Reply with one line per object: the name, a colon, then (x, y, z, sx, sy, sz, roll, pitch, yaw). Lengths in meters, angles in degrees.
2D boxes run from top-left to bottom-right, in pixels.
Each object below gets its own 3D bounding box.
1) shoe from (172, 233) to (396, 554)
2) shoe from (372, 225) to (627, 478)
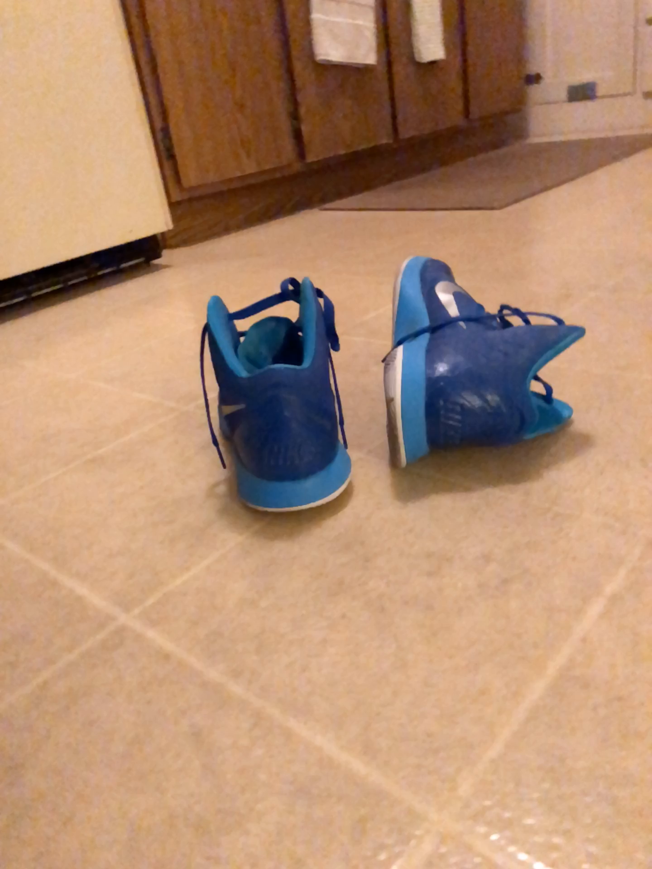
shoe: (-0.044, -0.060, 0.596, 0.120, 0.144, 0.312, -11, 25, -4)
shoe: (0.123, -0.087, 0.607, 0.159, 0.119, 0.283, -1, 26, 5)
